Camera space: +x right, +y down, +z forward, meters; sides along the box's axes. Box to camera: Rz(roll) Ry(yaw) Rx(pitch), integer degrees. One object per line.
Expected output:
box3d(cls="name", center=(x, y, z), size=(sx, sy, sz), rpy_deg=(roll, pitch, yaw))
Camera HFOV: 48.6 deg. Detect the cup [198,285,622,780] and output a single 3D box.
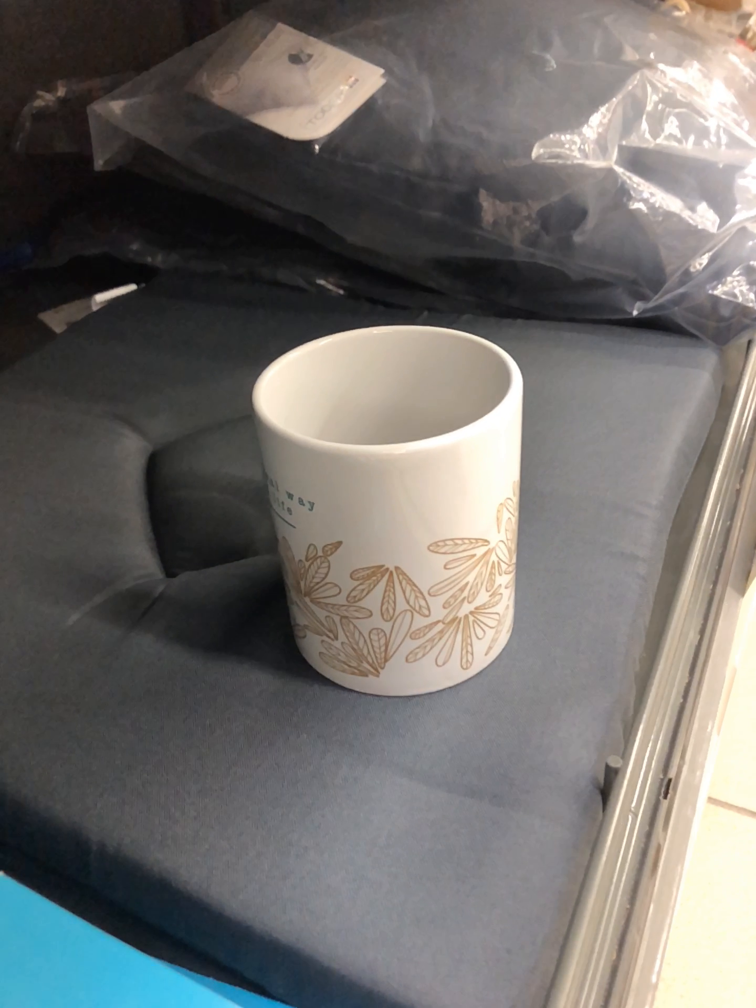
box3d(cls="cup", center=(0.005, 0.001, 0.288), size=(0.090, 0.099, 0.120), rpy_deg=(-17, 37, -16))
